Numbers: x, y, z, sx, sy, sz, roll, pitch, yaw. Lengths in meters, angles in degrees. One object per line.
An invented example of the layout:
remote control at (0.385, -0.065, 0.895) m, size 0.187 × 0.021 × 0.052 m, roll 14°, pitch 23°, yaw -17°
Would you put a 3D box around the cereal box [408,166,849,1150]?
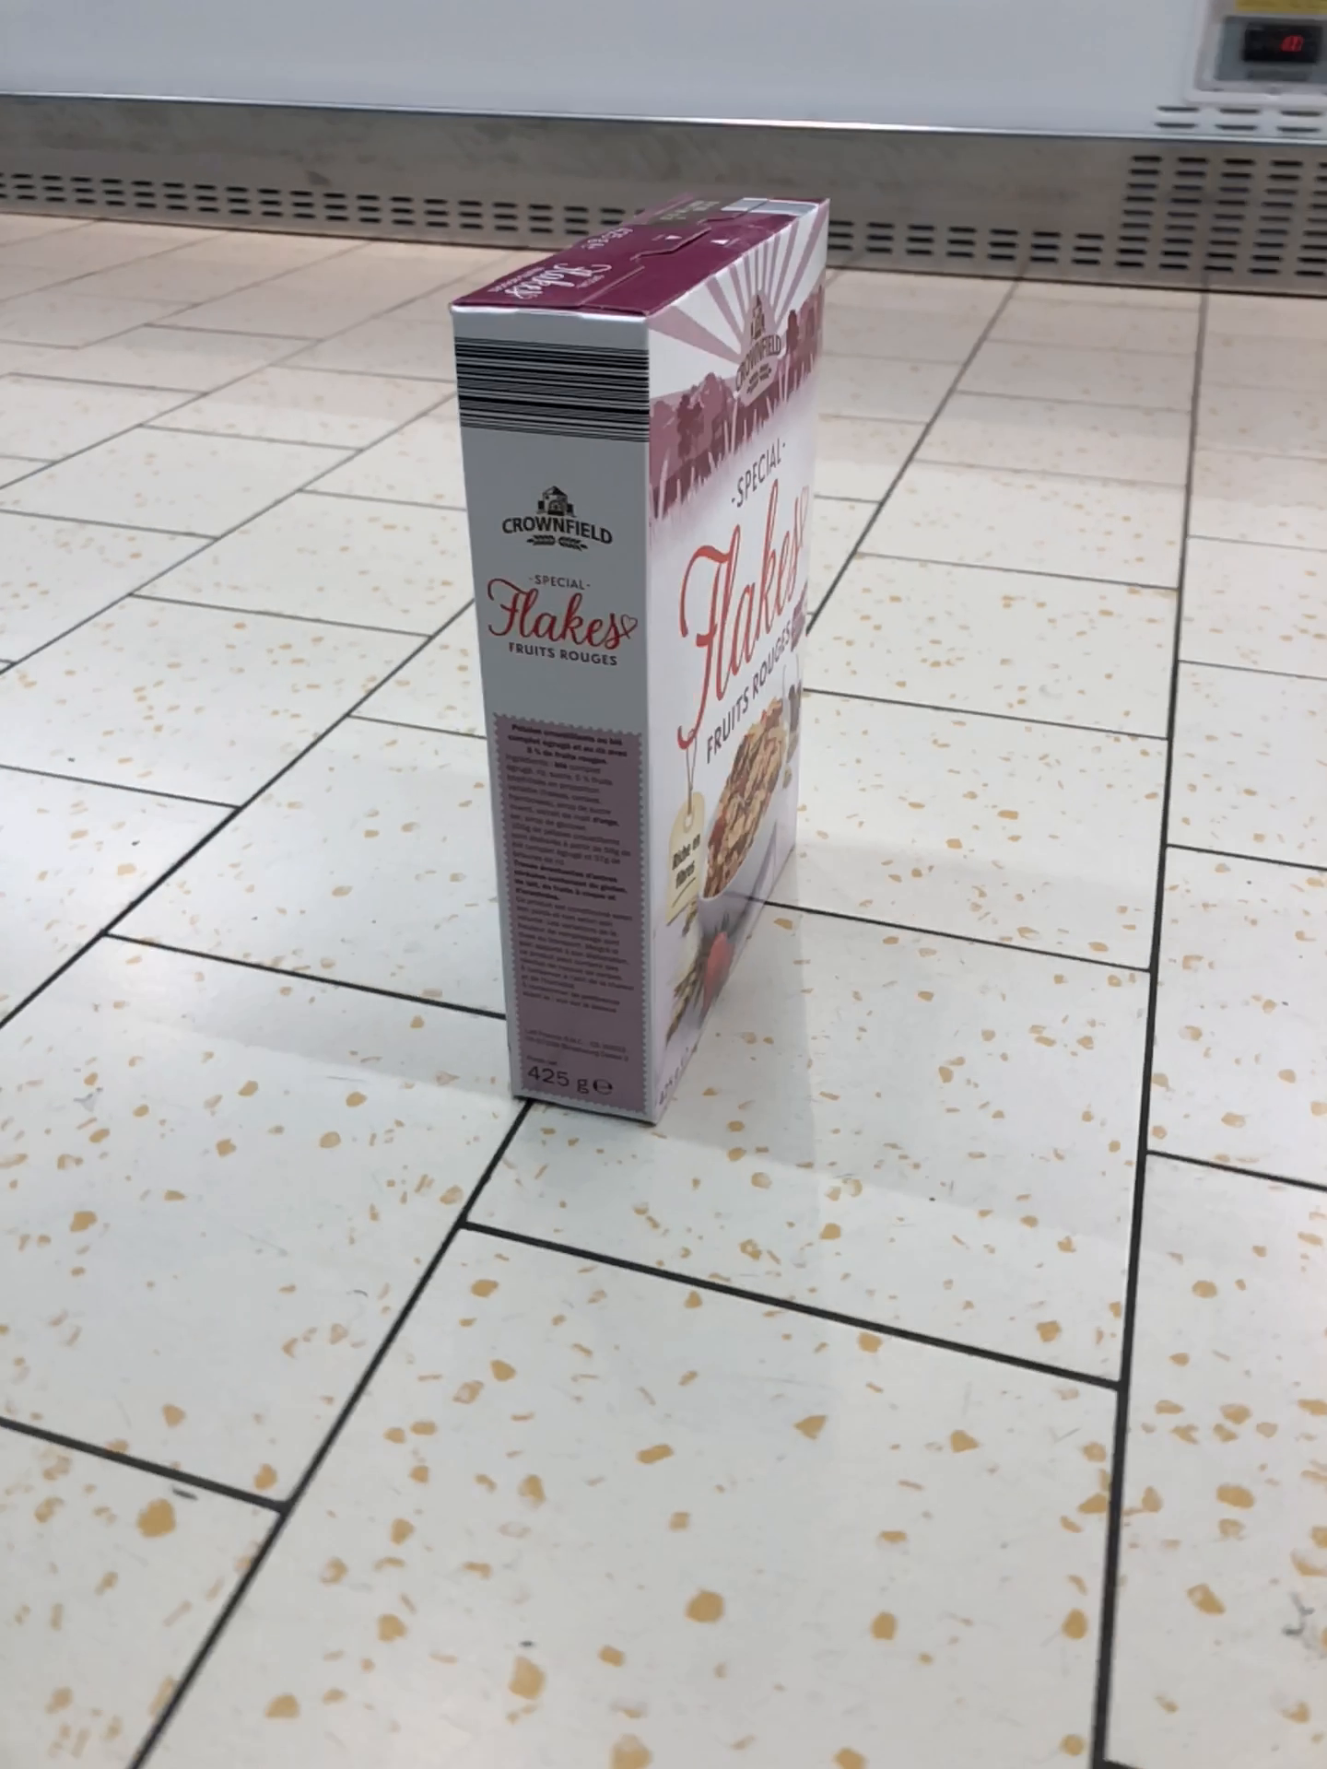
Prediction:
cereal box at (0.002, -0.081, 0.483) m, size 0.060 × 0.258 × 0.201 m, roll 10°, pitch 34°, yaw 16°
